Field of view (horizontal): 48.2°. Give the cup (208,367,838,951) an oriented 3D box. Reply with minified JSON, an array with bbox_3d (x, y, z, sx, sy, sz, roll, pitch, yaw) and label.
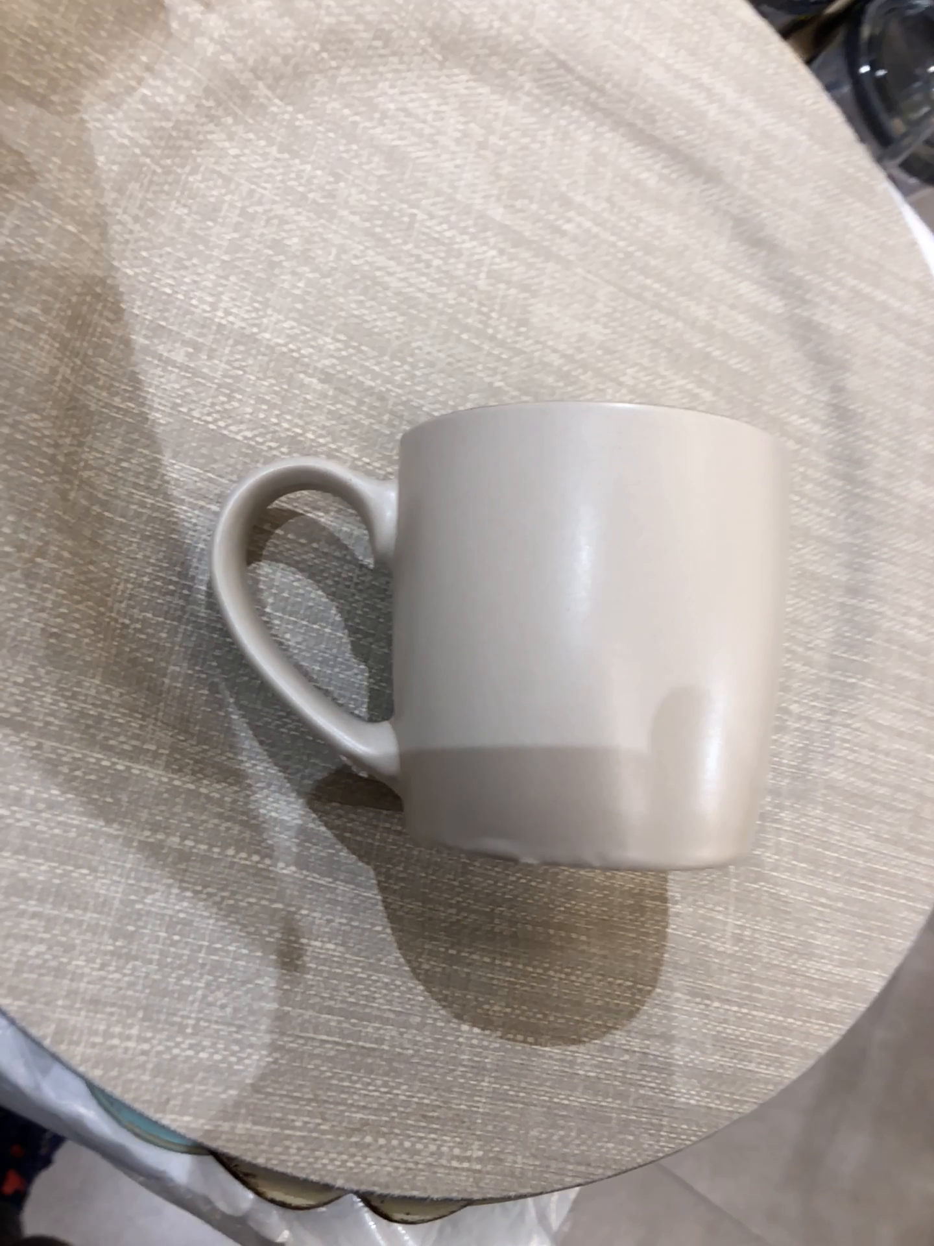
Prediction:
[{"bbox_3d":[0.014,0.007,0.208,0.100,0.080,0.090,0,85,9],"label":"cup"}]
